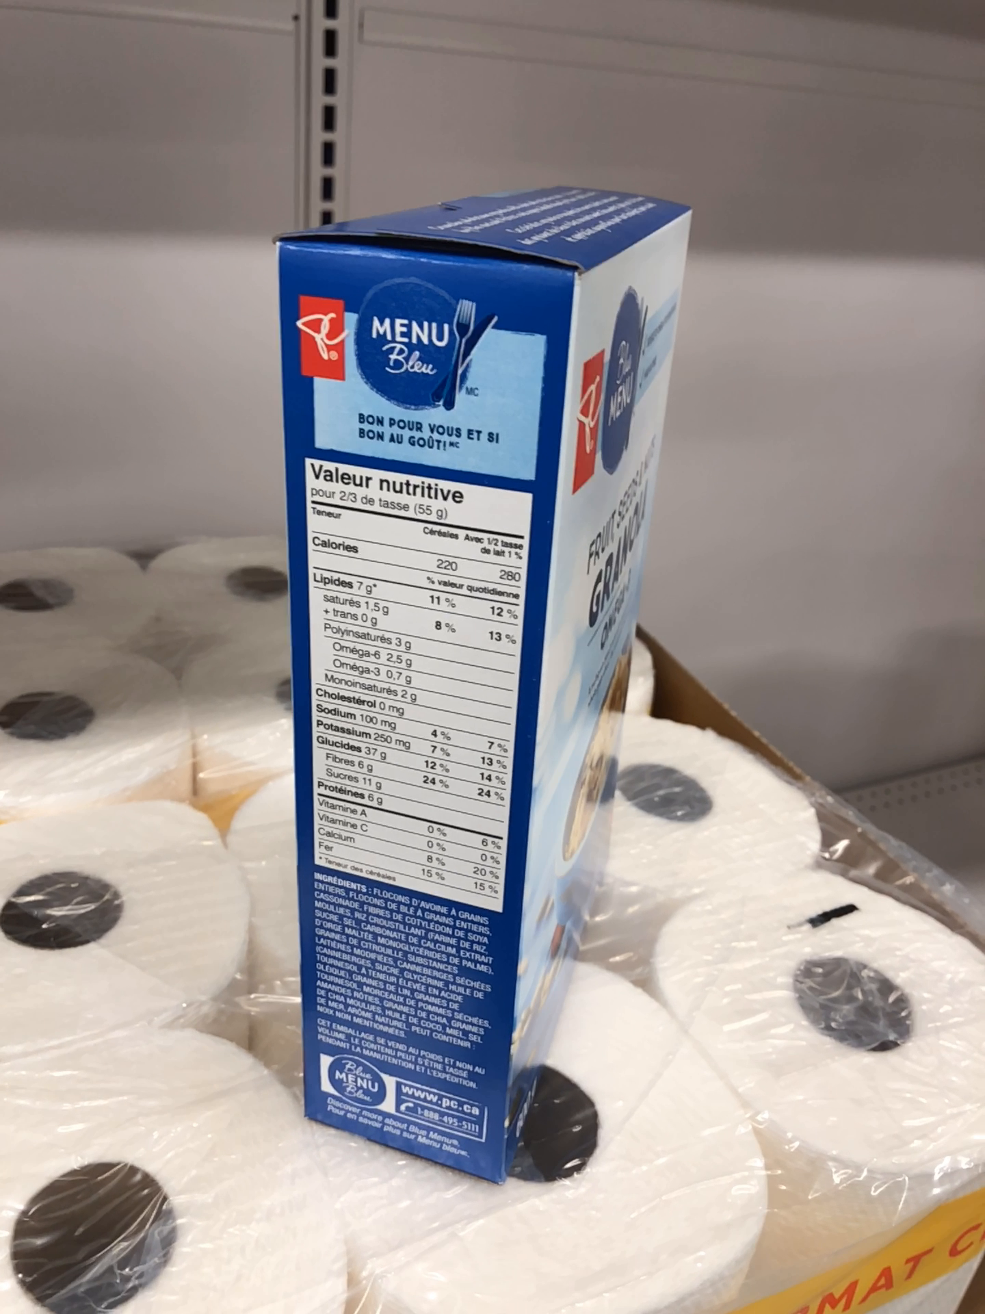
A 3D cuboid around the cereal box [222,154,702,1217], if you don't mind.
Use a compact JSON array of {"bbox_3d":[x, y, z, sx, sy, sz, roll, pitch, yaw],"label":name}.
[{"bbox_3d":[0.000,-0.002,0.304,0.060,0.239,0.161,11,28,14],"label":"cereal box"}]
